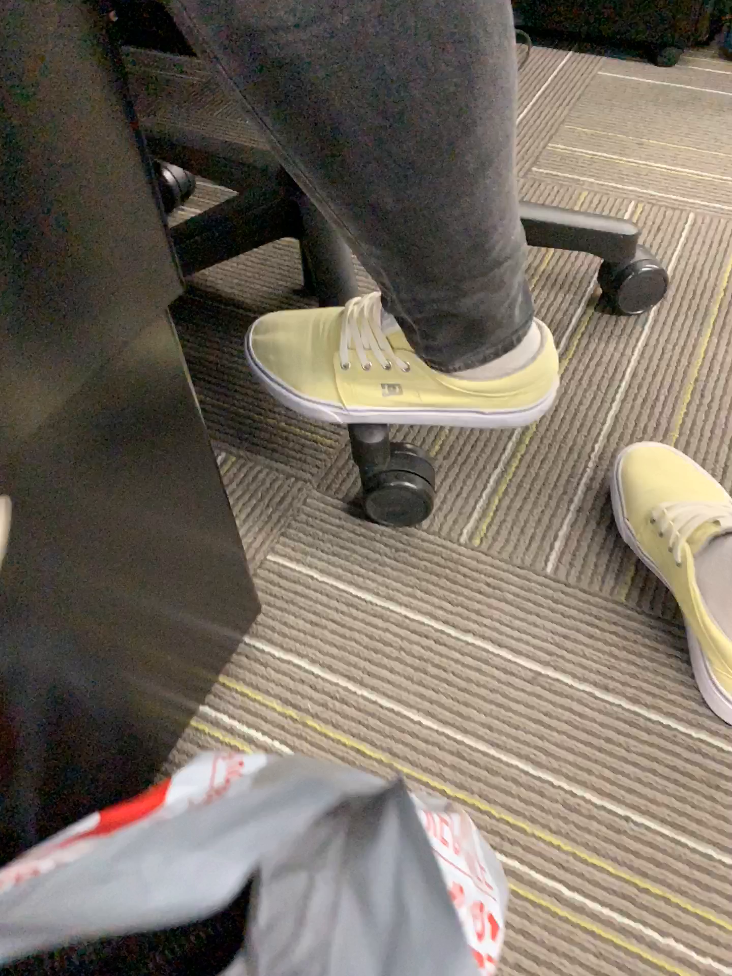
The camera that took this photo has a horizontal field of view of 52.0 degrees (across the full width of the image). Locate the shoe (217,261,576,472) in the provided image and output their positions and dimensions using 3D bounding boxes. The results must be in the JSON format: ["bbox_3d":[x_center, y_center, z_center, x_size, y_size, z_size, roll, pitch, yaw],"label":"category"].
[{"bbox_3d":[0.027,-0.102,0.614,0.260,0.096,0.099,10,52,11],"label":"shoe"}]

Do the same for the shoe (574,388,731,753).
[{"bbox_3d":[0.265,0.054,0.601,0.102,0.101,0.269,-7,50,-2],"label":"shoe"}]
